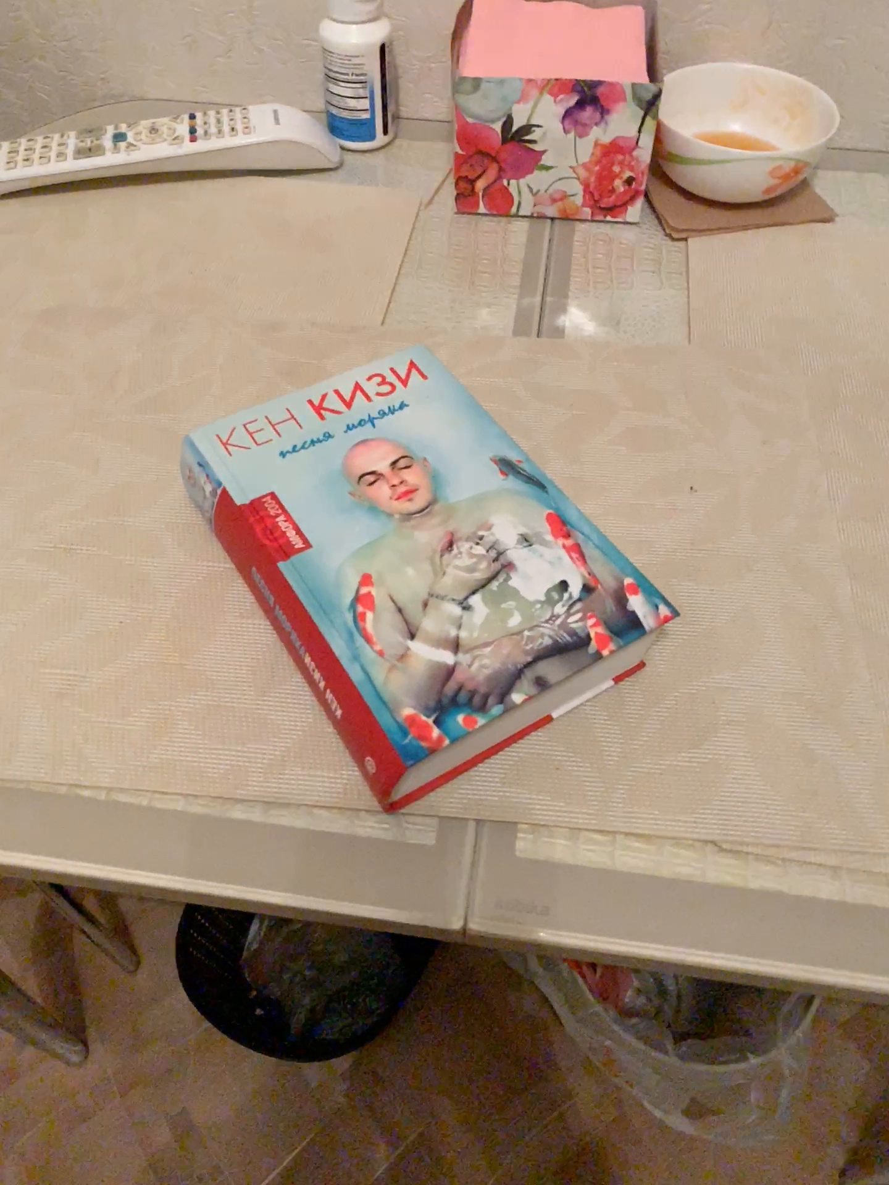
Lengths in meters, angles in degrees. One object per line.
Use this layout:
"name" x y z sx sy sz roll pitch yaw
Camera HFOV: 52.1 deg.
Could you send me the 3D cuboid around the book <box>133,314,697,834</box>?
"book" -0.022 -0.026 0.397 0.150 0.040 0.211 -26 57 -19
